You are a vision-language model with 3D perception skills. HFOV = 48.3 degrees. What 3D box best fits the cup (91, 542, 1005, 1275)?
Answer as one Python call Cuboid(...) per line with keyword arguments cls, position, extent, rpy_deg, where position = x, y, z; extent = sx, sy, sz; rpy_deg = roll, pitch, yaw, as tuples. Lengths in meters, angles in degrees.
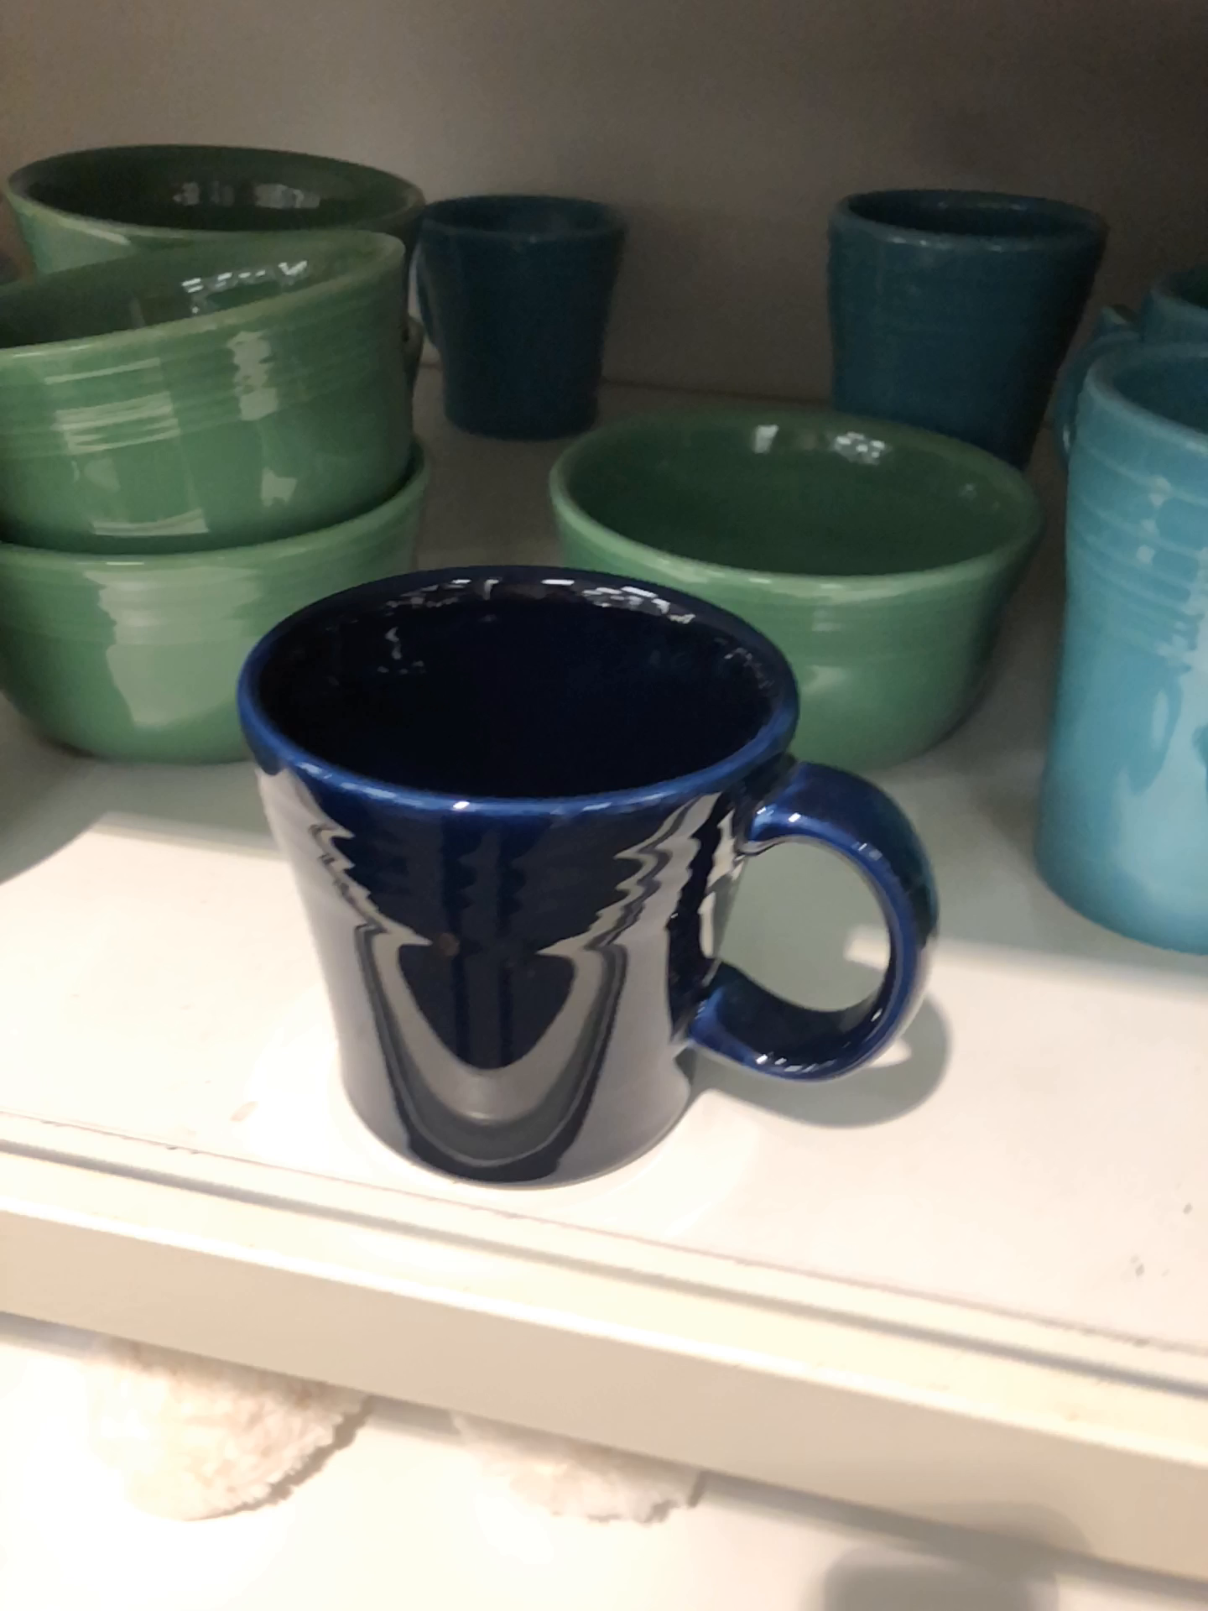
Cuboid(cls="cup", position=(-0.002, 0.012, 0.265), extent=(0.143, 0.085, 0.094), rpy_deg=(7, 35, 12))
